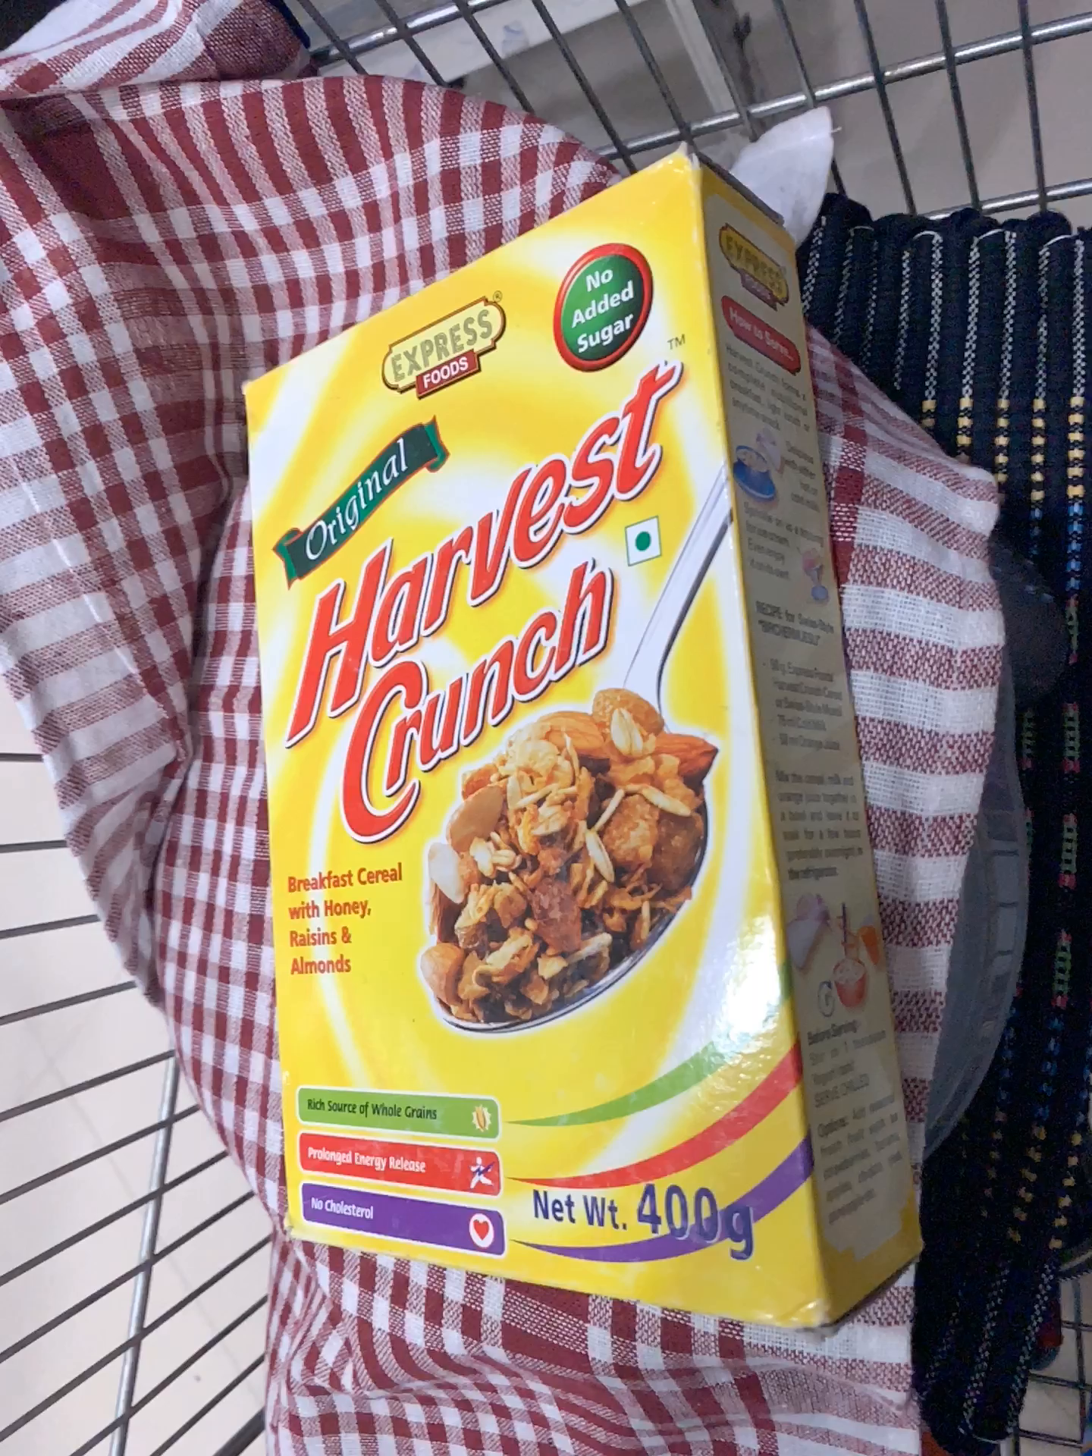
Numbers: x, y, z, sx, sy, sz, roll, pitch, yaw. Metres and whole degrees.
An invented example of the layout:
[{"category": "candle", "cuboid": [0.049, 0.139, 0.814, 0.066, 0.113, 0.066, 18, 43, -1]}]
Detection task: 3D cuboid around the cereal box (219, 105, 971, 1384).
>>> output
[{"category": "cereal box", "cuboid": [-0.002, 0.008, 0.258, 0.151, 0.050, 0.220, -11, 82, 39]}]
